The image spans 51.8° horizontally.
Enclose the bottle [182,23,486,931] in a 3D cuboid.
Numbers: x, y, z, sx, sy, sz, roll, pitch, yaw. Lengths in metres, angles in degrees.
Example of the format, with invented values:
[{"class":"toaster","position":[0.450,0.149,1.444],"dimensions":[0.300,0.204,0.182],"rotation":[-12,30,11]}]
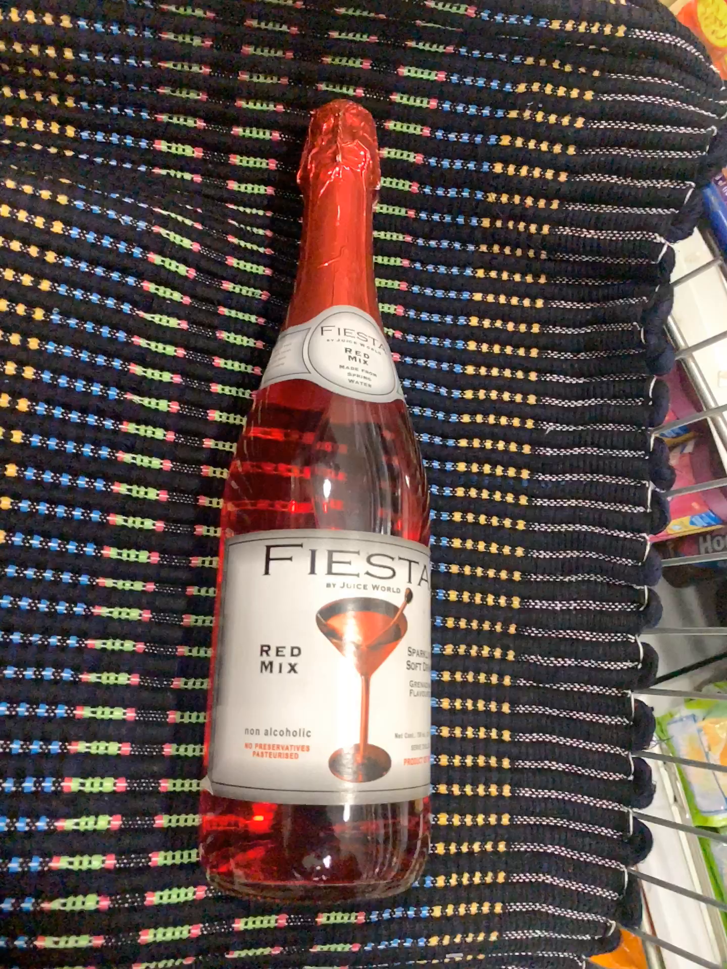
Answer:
[{"class":"bottle","position":[-0.009,-0.015,0.290],"dimensions":[0.080,0.070,0.310],"rotation":[8,72,-21]}]
